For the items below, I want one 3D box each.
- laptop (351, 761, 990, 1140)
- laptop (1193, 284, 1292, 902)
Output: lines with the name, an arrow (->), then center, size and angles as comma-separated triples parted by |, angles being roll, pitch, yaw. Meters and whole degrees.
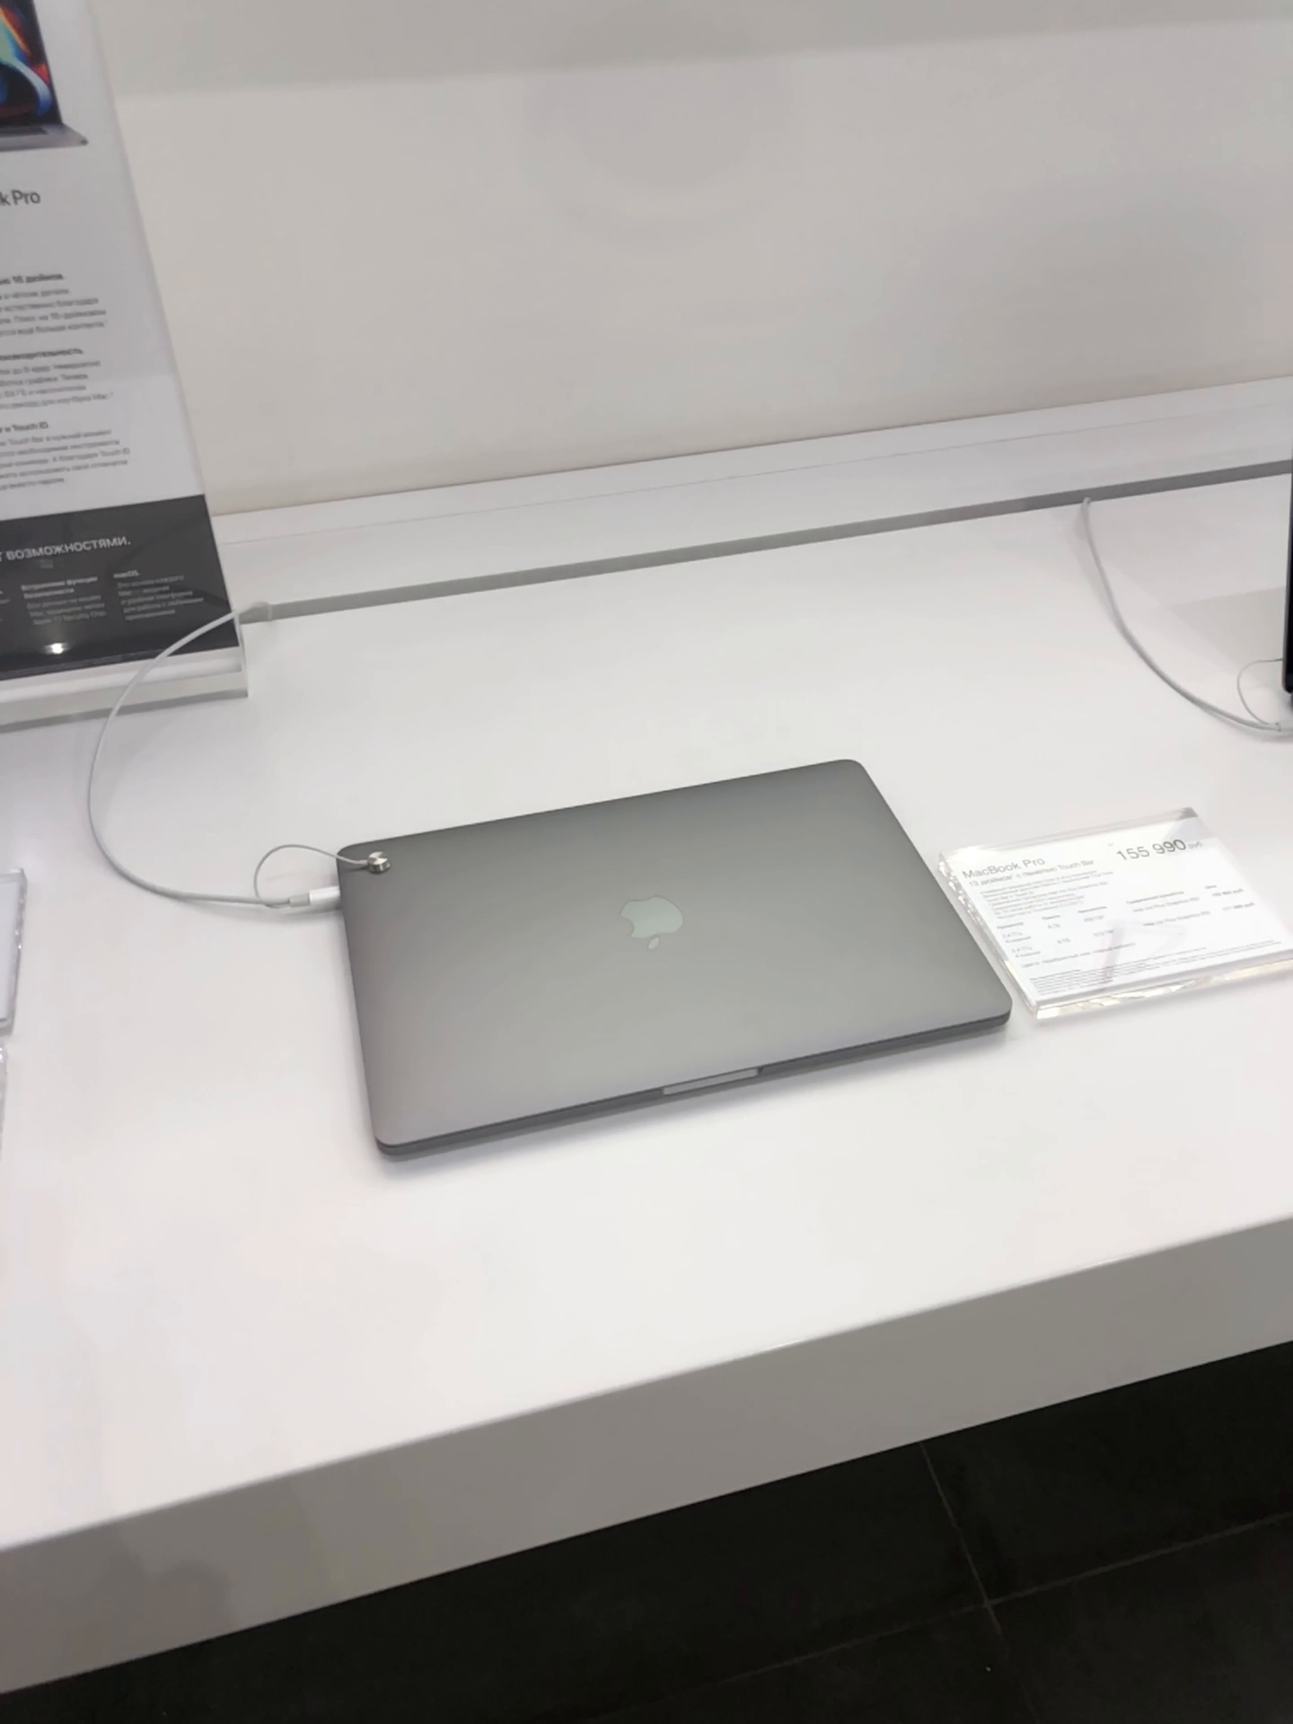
laptop -> 0.000, 0.032, 0.714 | 0.279, 0.001, 0.203 | -11, 41, -9
laptop -> 0.544, -0.165, 0.786 | 0.309, 0.186, 0.277 | -11, 42, -14
